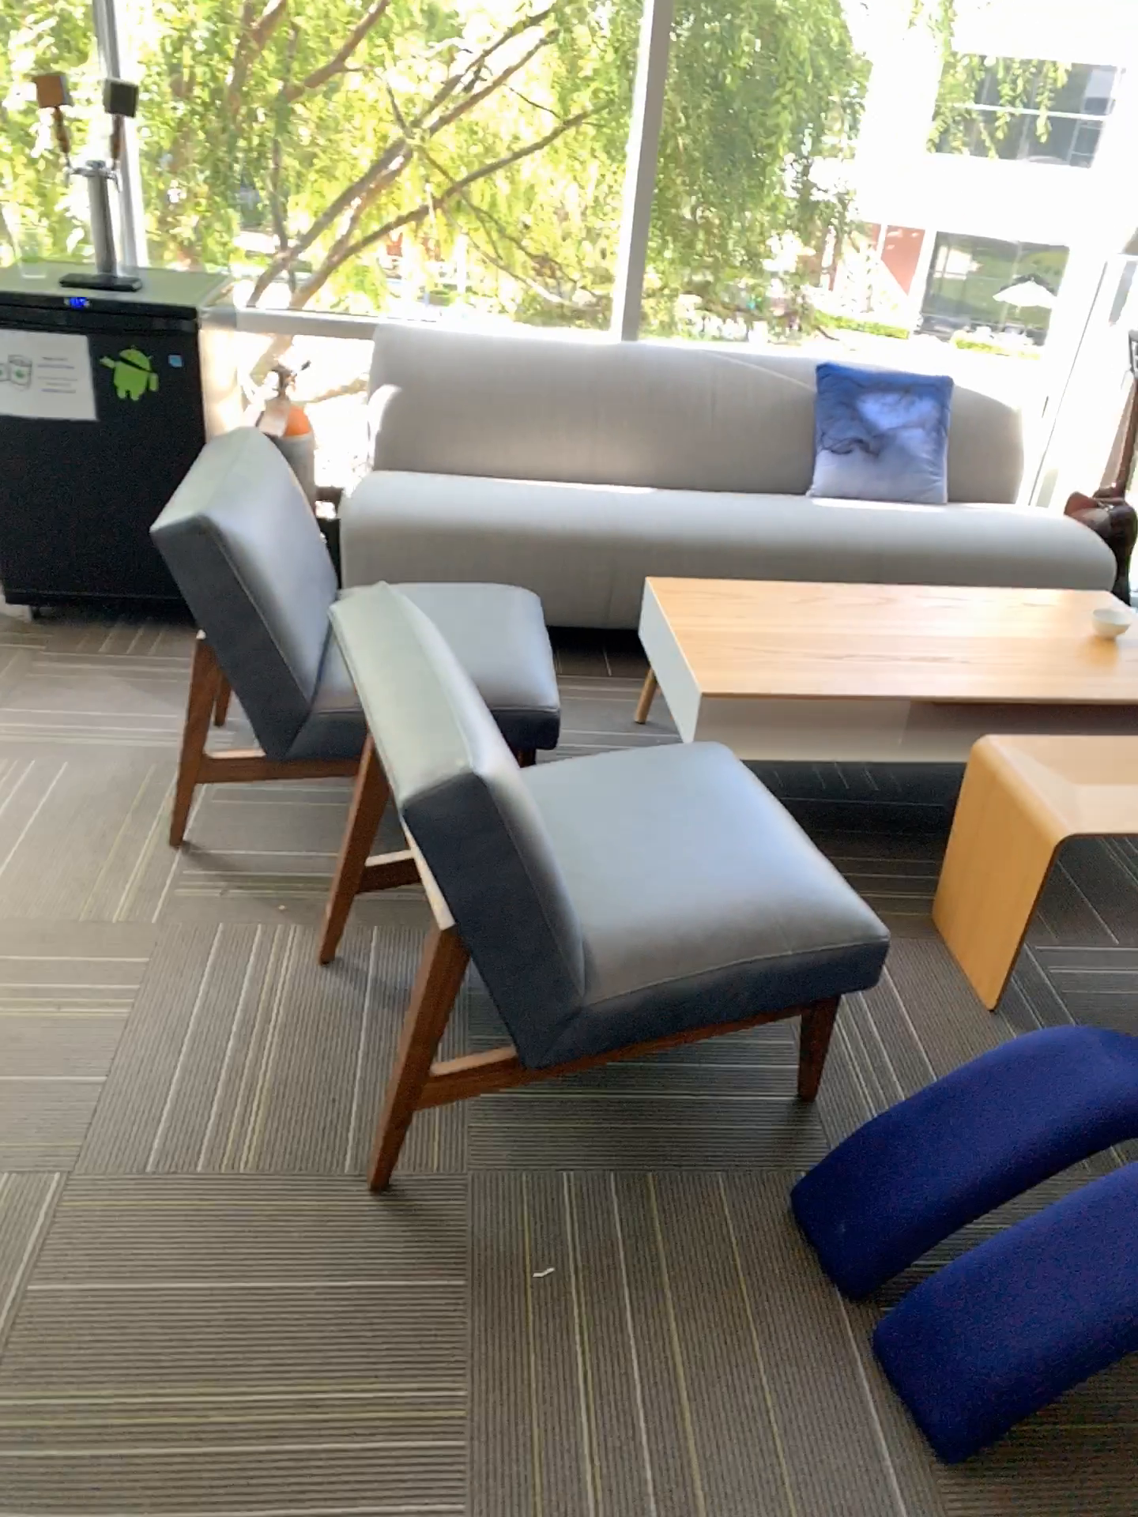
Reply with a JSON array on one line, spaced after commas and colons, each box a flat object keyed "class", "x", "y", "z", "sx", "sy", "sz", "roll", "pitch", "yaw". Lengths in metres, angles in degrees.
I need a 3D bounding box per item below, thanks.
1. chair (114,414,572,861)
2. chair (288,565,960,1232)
[{"class": "chair", "x": -0.503, "y": -0.299, "z": 2.687, "sx": 0.850, "sy": 0.765, "sz": 0.745, "roll": 0, "pitch": 30, "yaw": -10}, {"class": "chair", "x": 0.010, "y": 0.173, "z": 1.965, "sx": 0.850, "sy": 0.765, "sz": 0.684, "roll": -5, "pitch": 32, "yaw": -19}]
